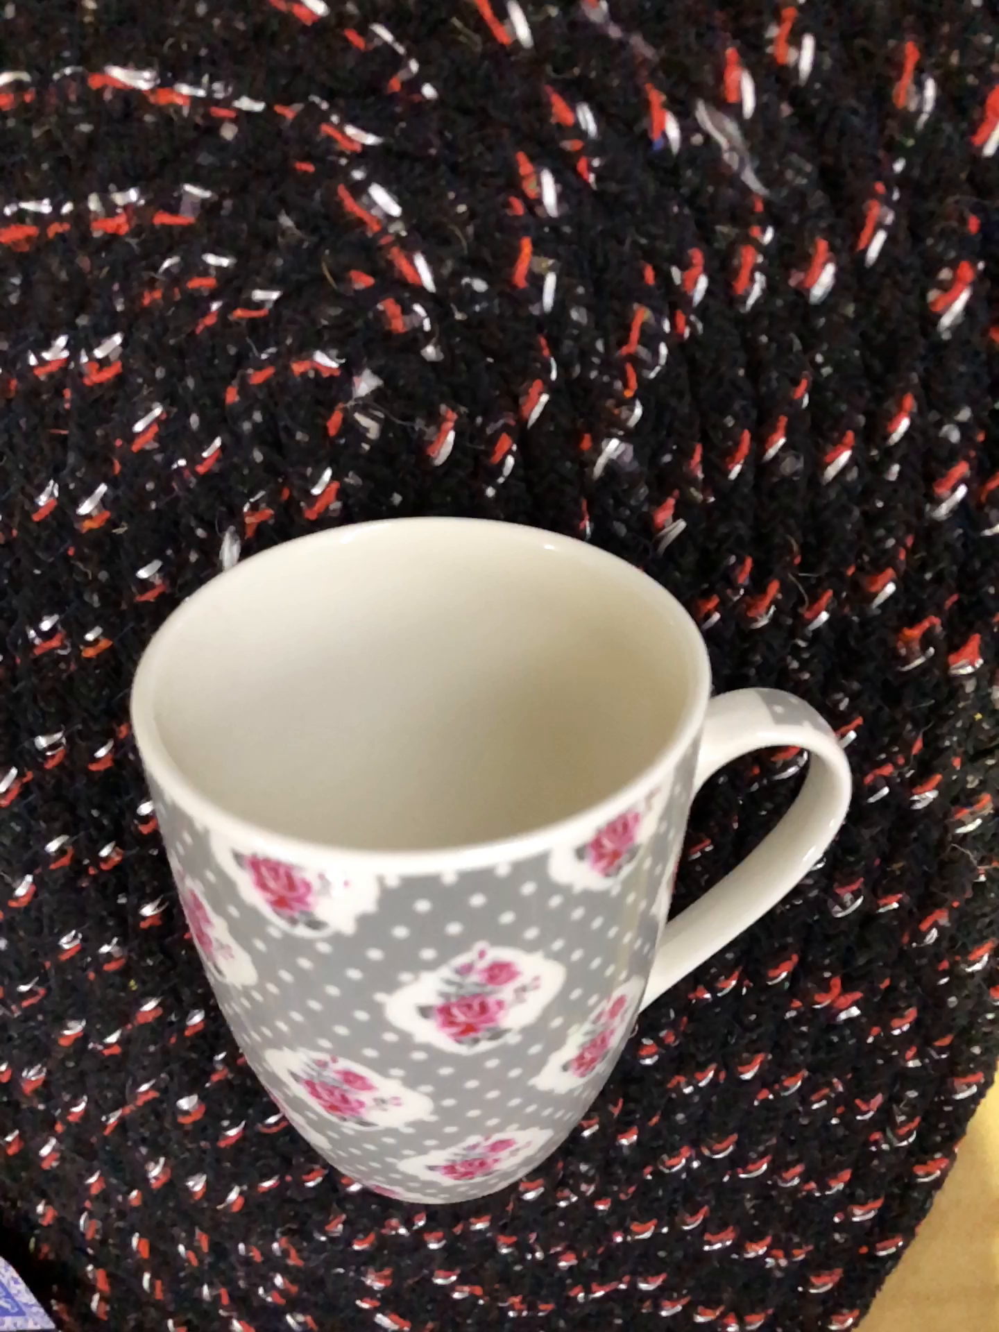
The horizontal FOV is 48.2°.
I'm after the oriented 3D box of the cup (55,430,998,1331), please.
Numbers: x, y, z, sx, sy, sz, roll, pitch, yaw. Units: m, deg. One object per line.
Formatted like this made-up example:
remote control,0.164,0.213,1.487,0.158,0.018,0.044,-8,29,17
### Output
cup,-0.003,0.033,0.181,0.110,0.090,0.100,-11,130,-14
